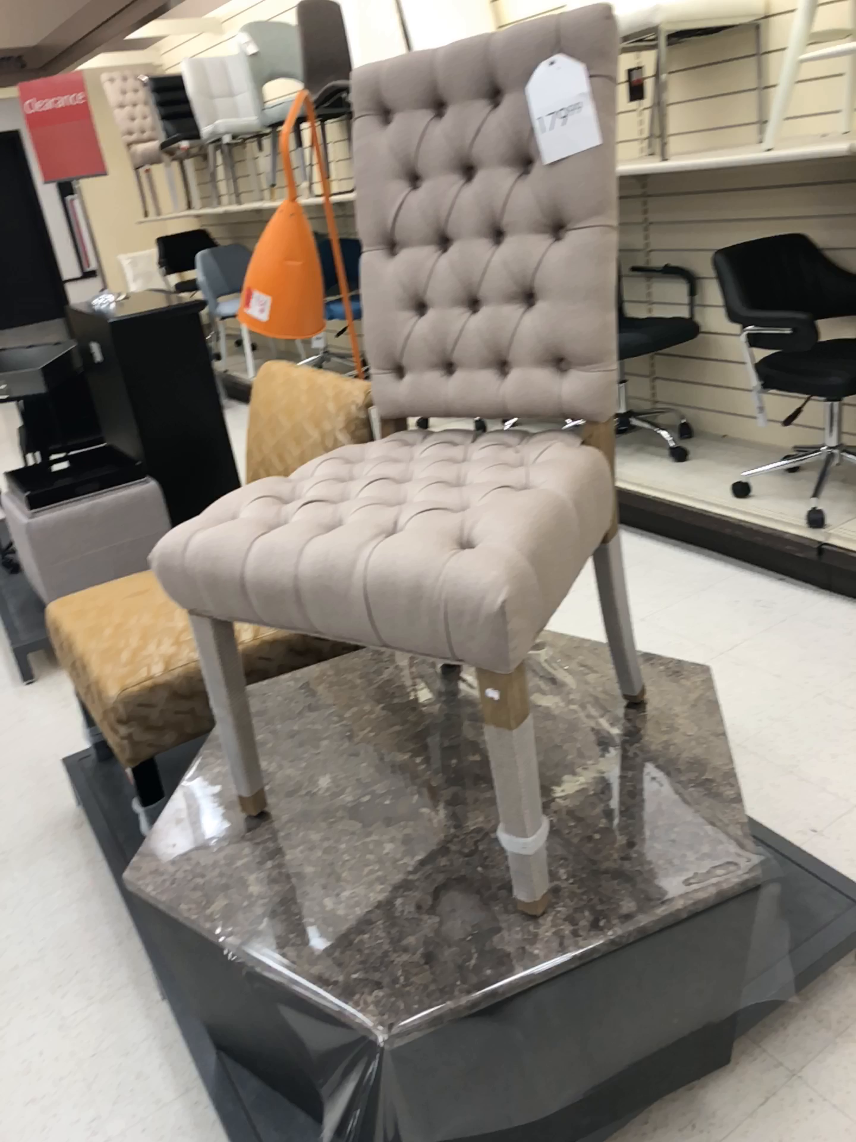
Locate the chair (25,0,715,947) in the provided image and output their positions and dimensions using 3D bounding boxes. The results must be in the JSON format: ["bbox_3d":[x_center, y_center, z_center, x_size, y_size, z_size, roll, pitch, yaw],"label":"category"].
[{"bbox_3d":[0.014,-0.163,1.321,0.571,1.046,0.582,7,28,33],"label":"chair"}]
